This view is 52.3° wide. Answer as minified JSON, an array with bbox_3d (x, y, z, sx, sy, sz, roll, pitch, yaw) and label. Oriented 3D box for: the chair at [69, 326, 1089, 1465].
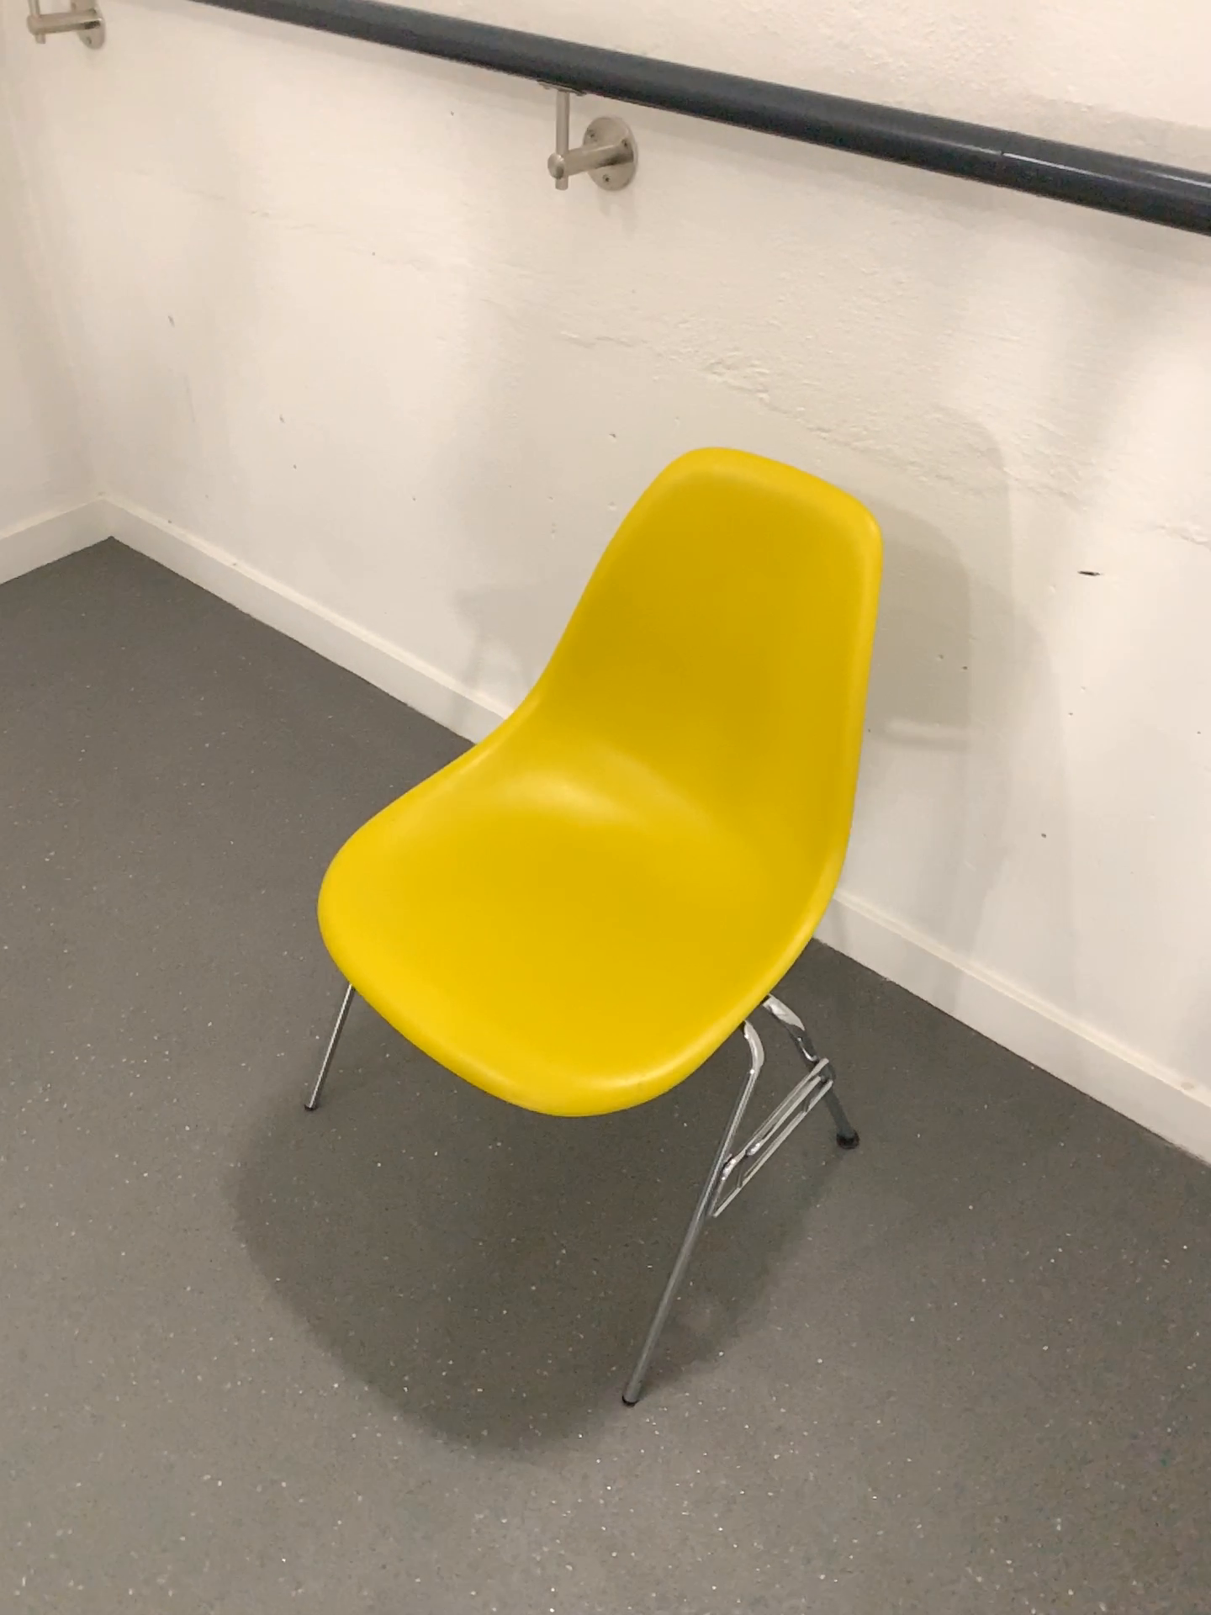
[{"bbox_3d":[-0.031,0.071,1.269,0.632,0.822,0.543,29,47,27],"label":"chair"}]
